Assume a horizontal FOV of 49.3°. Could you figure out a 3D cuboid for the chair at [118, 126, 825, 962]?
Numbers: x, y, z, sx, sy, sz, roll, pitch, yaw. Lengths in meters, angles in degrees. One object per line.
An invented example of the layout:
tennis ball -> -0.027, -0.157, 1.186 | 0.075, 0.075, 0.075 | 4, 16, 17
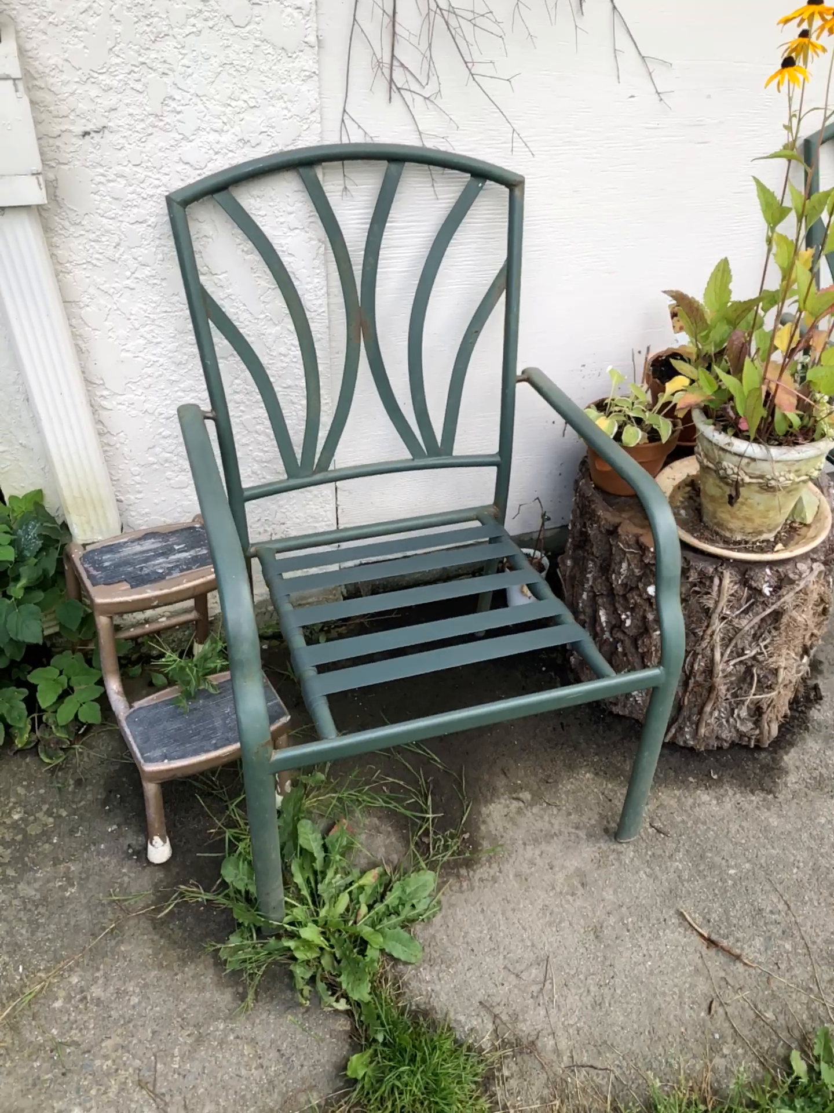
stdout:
chair -> -0.013, -0.046, 1.337 | 0.620, 0.904, 0.685 | -11, 39, -15
